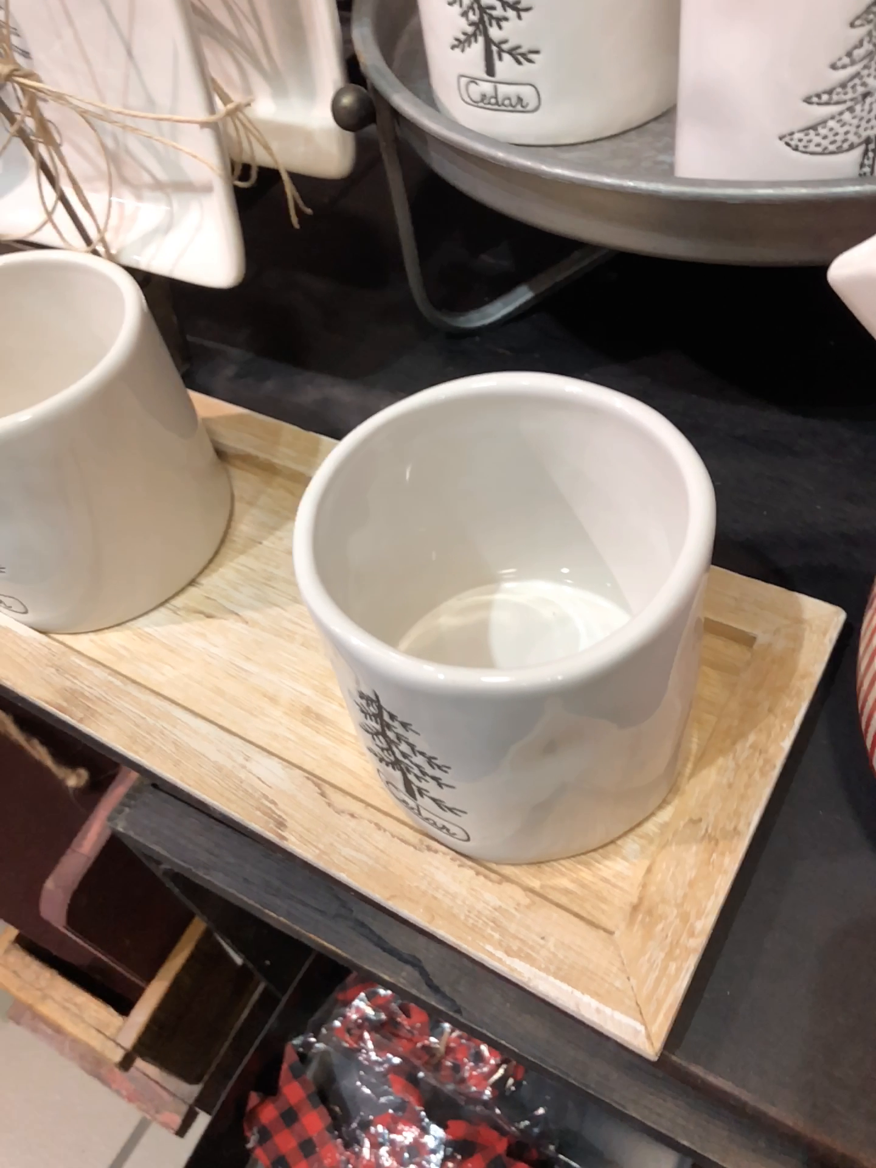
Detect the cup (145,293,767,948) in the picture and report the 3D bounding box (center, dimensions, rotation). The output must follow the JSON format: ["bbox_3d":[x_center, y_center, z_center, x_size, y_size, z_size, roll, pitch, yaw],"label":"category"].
[{"bbox_3d":[0.009,0.008,0.241,0.097,0.100,0.087,32,65,31],"label":"cup"}]
